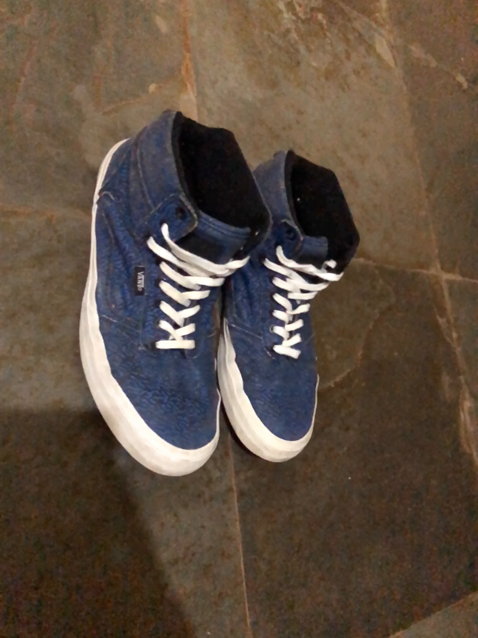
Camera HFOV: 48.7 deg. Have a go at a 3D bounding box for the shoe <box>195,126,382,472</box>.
[{"bbox_3d":[0.039,-0.010,0.481,0.121,0.089,0.280,9,71,-37],"label":"shoe"}]

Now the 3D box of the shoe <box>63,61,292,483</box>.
[{"bbox_3d":[-0.056,-0.026,0.412,0.121,0.109,0.280,5,73,-38],"label":"shoe"}]
